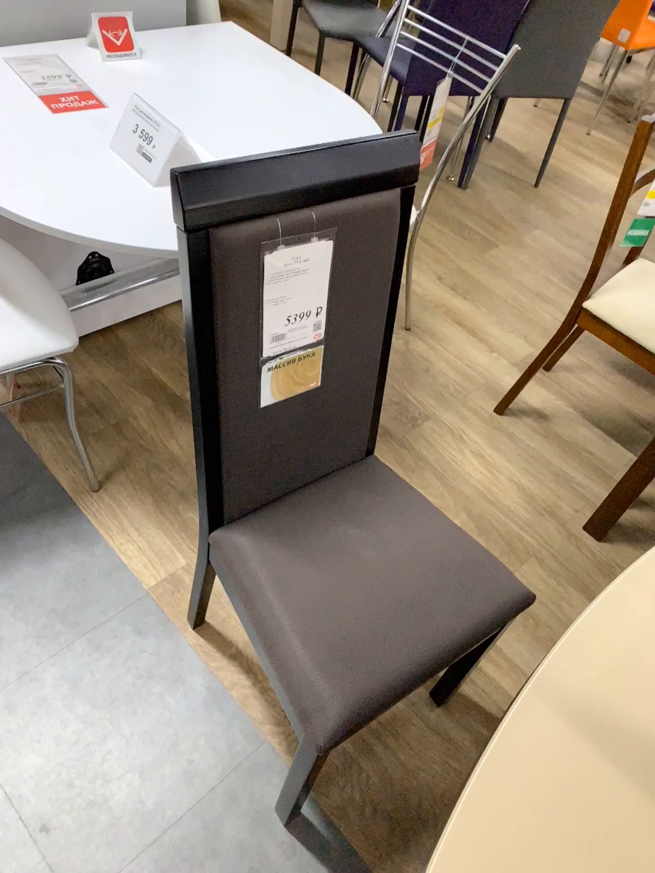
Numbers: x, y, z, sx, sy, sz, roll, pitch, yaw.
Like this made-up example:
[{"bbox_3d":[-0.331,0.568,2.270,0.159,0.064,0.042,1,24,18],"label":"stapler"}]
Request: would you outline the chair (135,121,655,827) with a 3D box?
[{"bbox_3d":[0.032,0.134,1.066,0.441,0.995,0.501,-22,57,-29],"label":"chair"}]
